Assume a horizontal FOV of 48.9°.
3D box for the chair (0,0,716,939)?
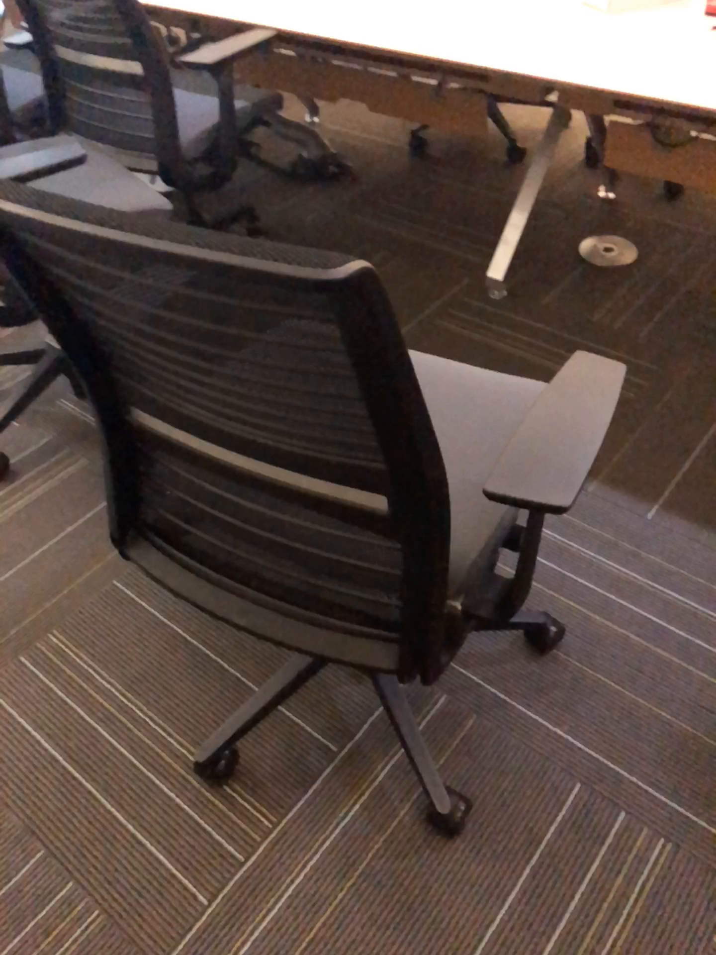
[{"bbox_3d":[-0.028,-0.062,0.999,0.721,0.856,0.662,17,47,21],"label":"chair"}]
